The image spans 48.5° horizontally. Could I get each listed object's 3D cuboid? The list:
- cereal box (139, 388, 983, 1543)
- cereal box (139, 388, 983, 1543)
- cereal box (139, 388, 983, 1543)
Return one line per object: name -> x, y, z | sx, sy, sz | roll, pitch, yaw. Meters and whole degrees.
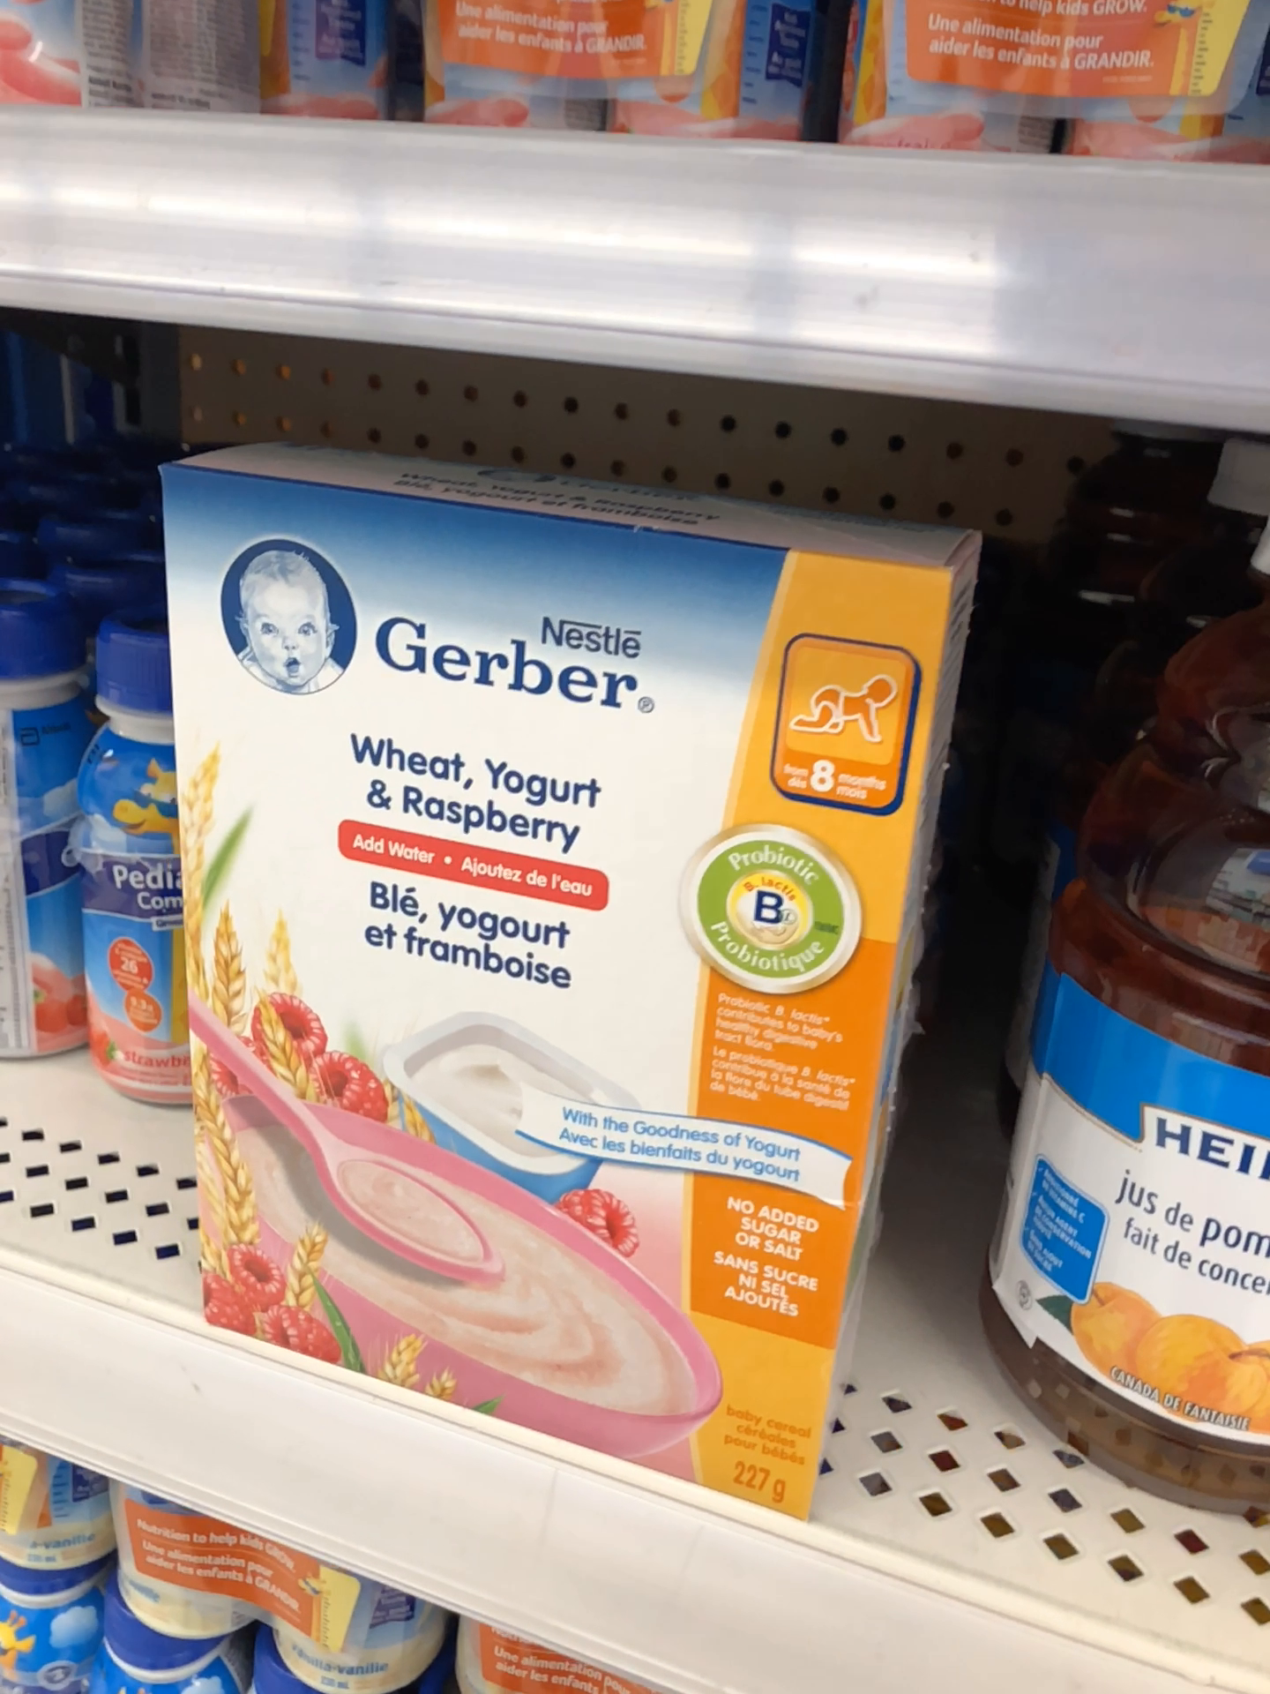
cereal box -> -0.022, 0.021, 0.282 | 0.140, 0.199, 0.050 | 12, 21, 16
cereal box -> -0.022, 0.021, 0.282 | 0.140, 0.199, 0.050 | 12, 21, 16
cereal box -> -0.022, 0.021, 0.282 | 0.140, 0.199, 0.050 | 12, 21, 16
